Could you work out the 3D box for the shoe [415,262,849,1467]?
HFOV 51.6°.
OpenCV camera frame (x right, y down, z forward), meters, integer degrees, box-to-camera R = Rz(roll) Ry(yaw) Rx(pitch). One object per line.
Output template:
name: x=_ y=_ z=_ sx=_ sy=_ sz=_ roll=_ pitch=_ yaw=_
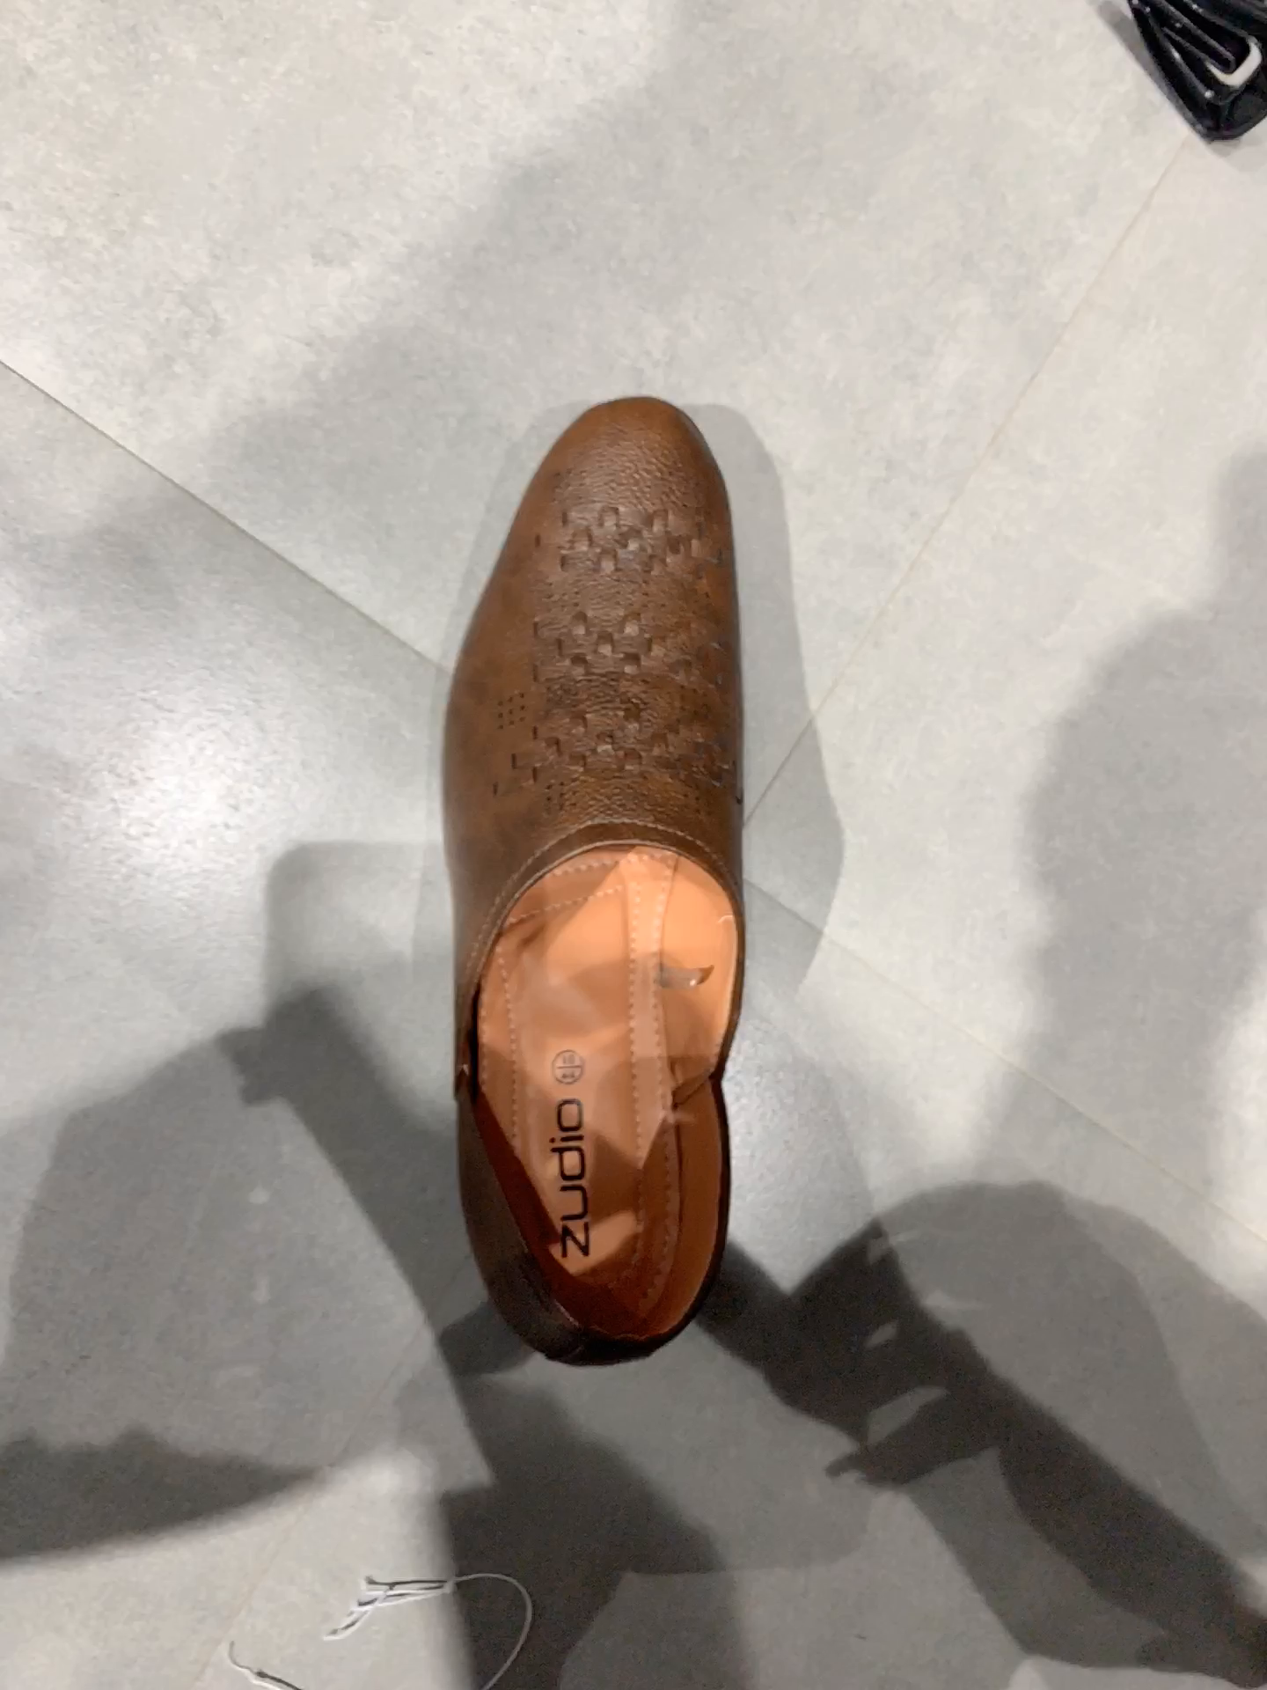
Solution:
shoe: x=-0.007 y=0.005 z=0.380 sx=0.100 sy=0.110 sz=0.290 roll=1 pitch=90 yaw=-13
